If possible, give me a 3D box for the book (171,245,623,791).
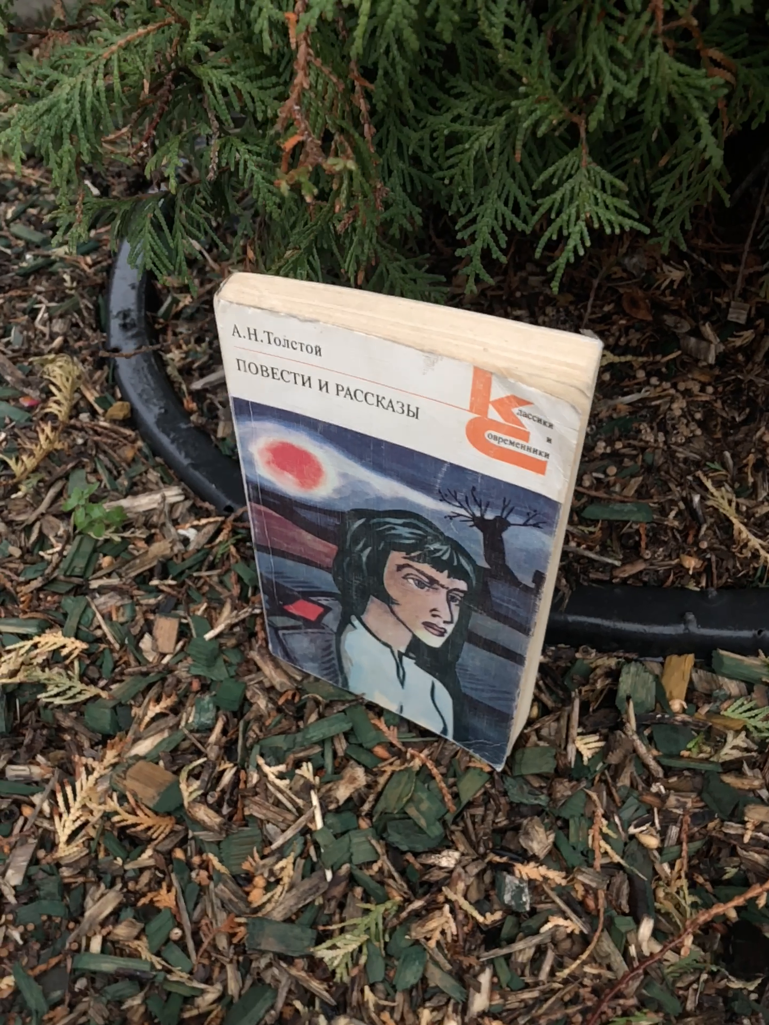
[{"bbox_3d":[0.005,0.013,0.321,0.130,0.196,0.041,21,51,23],"label":"book"}]
